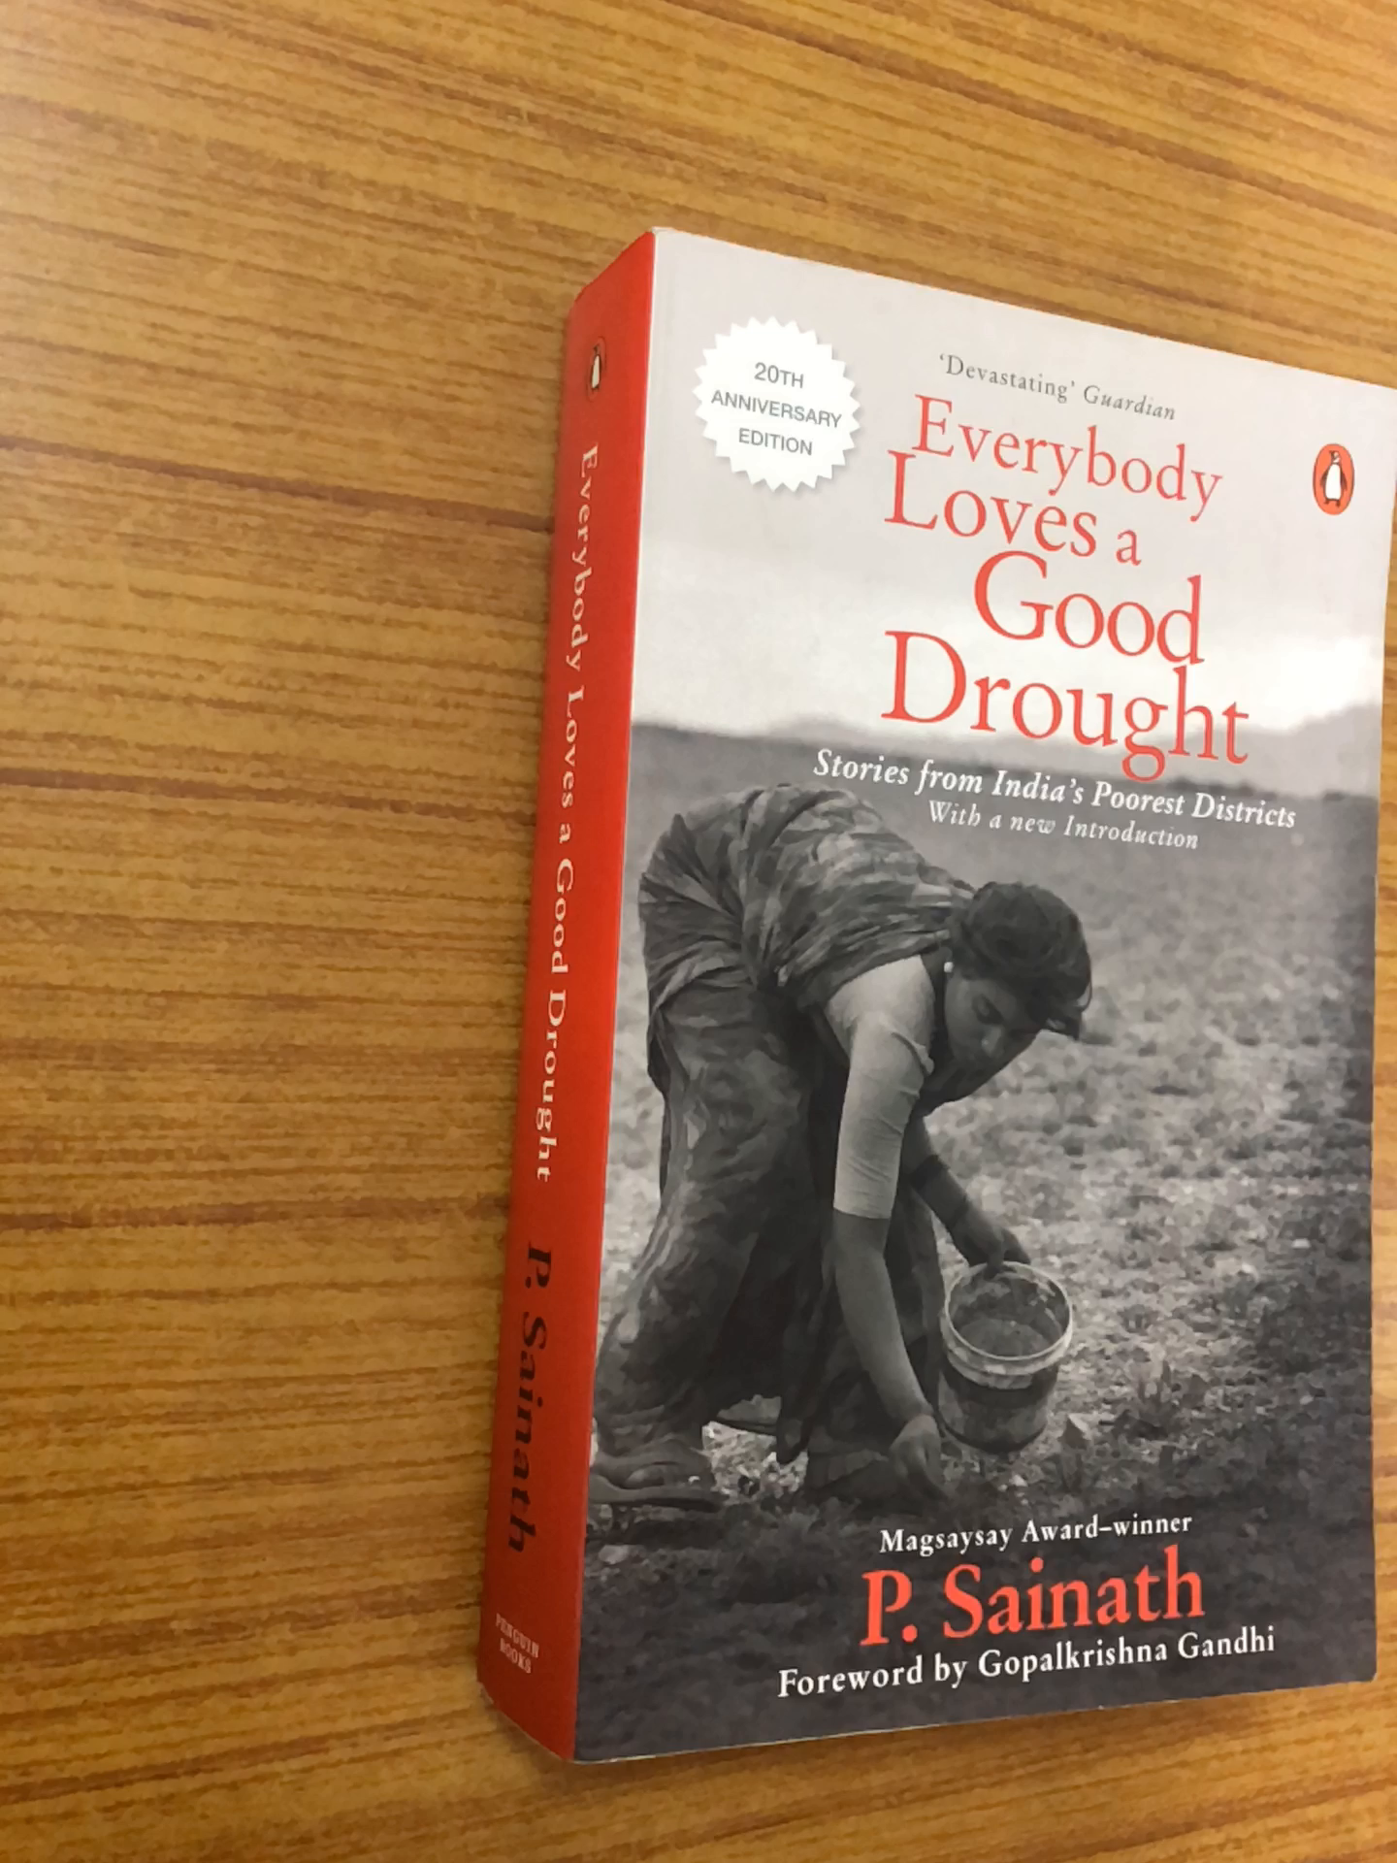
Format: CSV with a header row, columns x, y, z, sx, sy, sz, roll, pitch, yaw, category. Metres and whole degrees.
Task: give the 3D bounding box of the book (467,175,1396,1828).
x,y,z,sx,sy,sz,roll,pitch,yaw,category
0.045,0.012,0.244,0.140,0.040,0.210,5,86,-23,book
